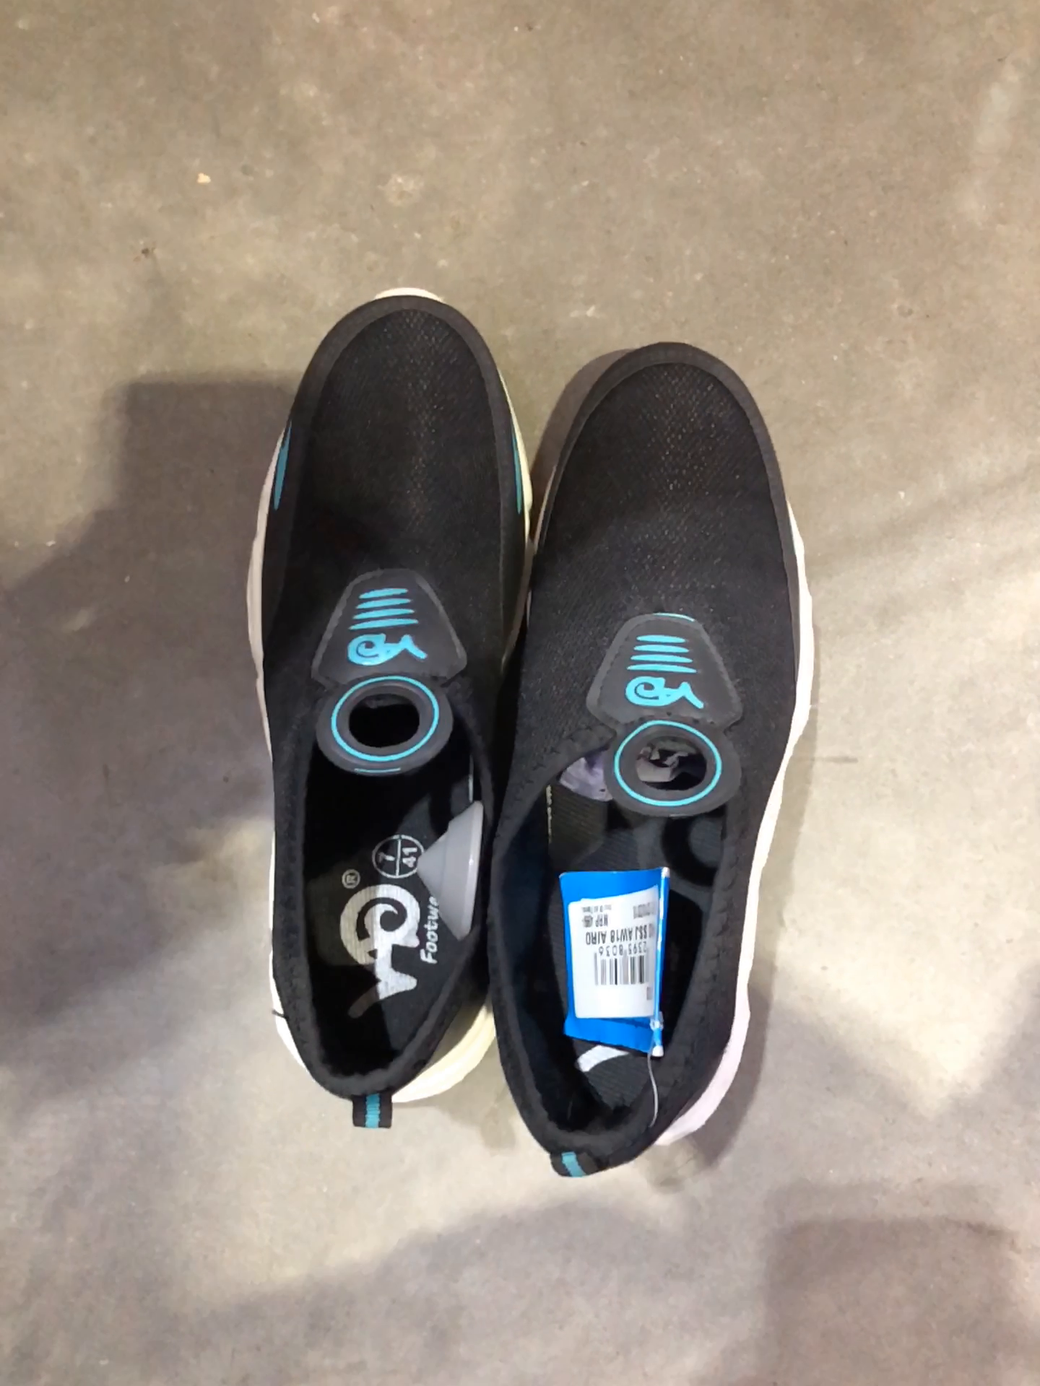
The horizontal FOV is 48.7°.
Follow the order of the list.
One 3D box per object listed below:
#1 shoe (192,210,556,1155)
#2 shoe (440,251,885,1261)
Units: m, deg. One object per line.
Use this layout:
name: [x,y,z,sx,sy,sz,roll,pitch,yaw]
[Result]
shoe: [-0.045,-0.004,0.414,0.110,0.100,0.300,-1,84,2]
shoe: [0.048,0.016,0.402,0.110,0.100,0.300,5,84,3]
